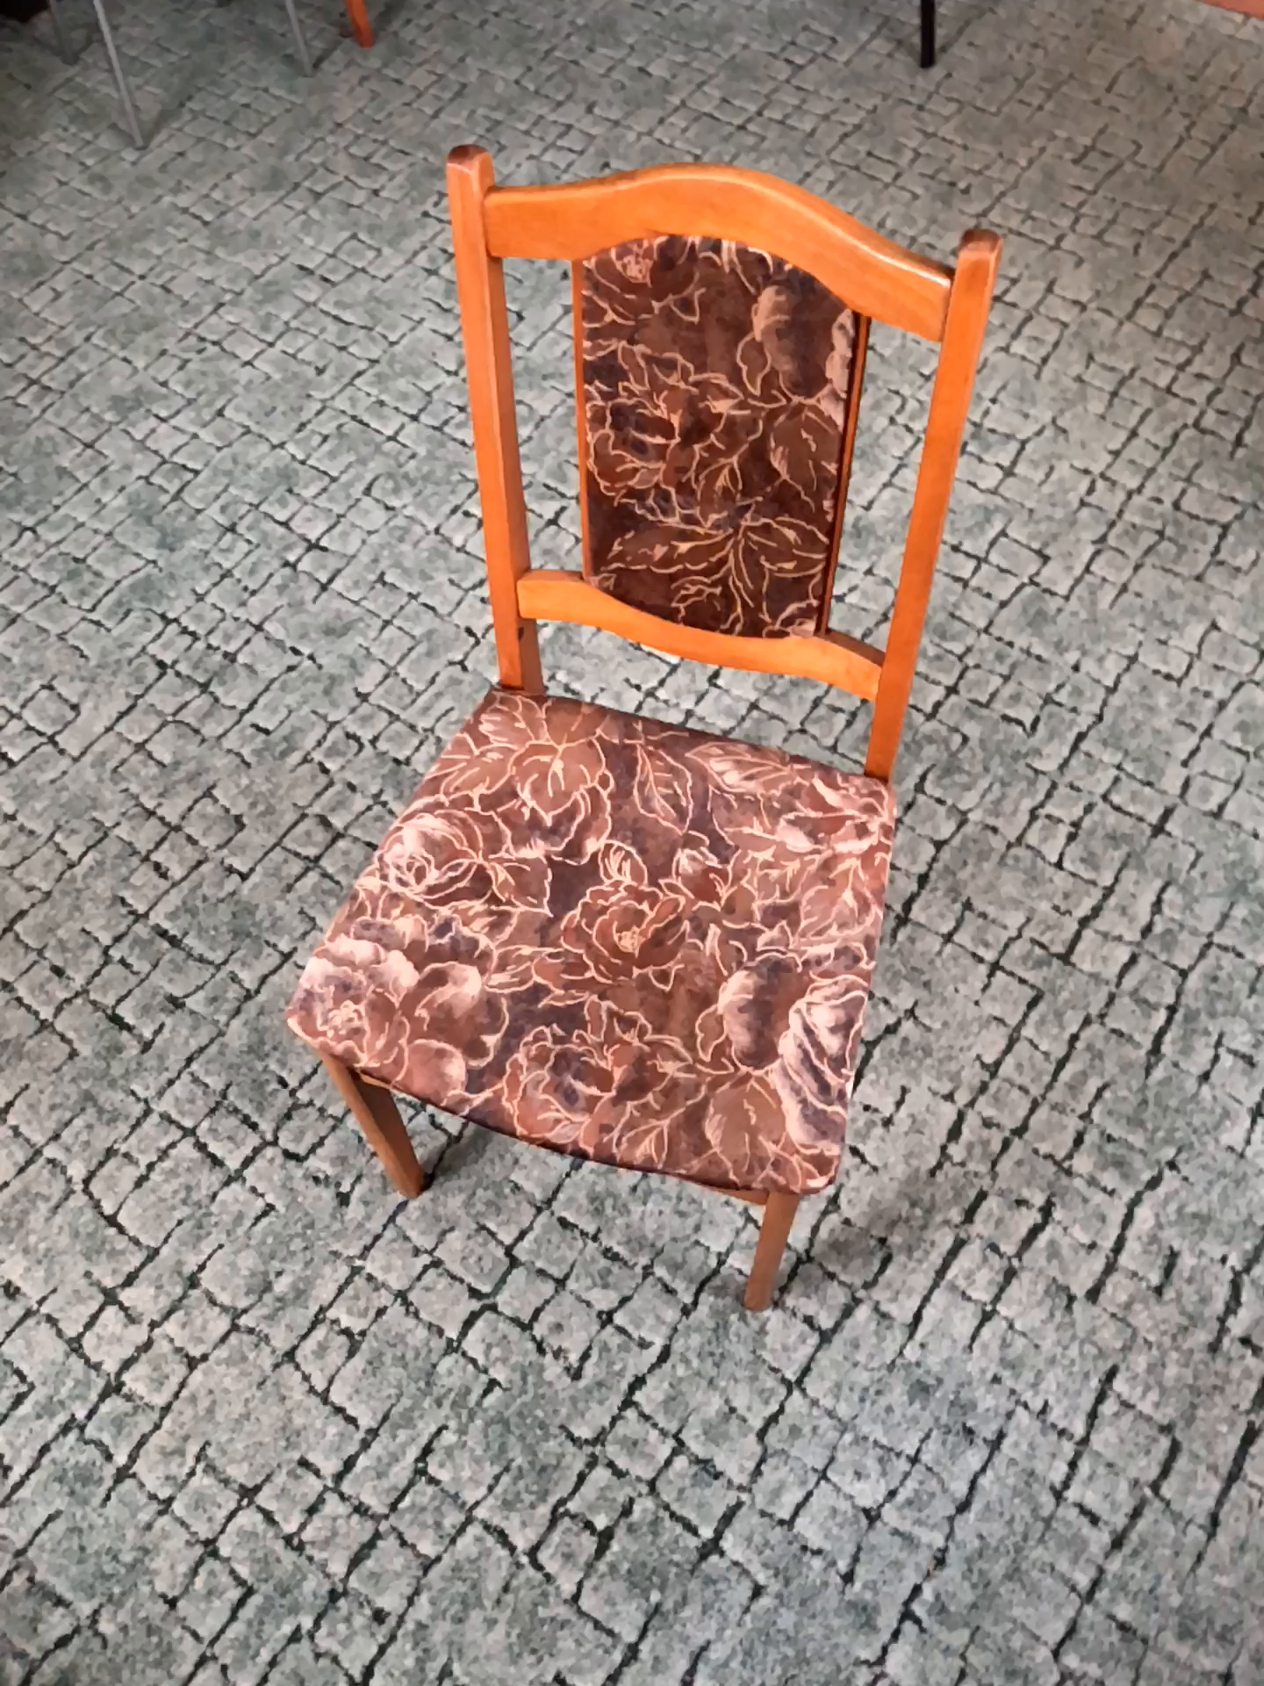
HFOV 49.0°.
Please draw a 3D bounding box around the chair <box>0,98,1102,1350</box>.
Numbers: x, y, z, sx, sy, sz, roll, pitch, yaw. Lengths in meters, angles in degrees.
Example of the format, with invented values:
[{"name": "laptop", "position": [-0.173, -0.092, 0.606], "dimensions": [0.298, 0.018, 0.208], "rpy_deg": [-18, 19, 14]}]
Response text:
[{"name": "chair", "position": [0.005, -0.020, 1.184], "dimensions": [0.480, 0.875, 0.553], "rpy_deg": [16, 60, 13]}]
